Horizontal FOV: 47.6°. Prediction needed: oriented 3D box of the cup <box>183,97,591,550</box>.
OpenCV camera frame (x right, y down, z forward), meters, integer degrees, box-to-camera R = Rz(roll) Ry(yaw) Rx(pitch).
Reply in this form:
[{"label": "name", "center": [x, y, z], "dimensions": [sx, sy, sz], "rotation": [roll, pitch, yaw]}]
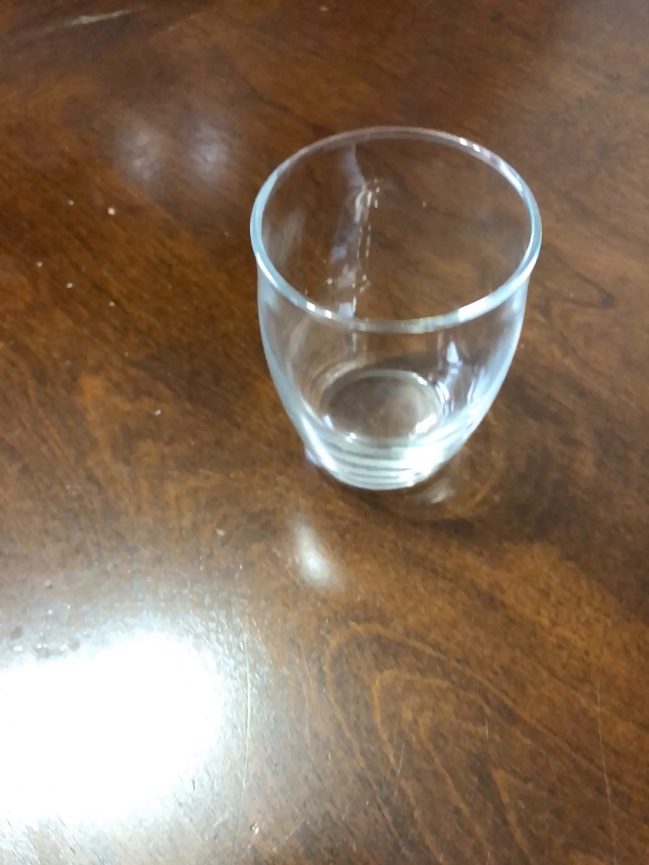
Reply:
[{"label": "cup", "center": [0.015, -0.023, 0.175], "dimensions": [0.060, 0.070, 0.060], "rotation": [-1, 59, 2]}]
